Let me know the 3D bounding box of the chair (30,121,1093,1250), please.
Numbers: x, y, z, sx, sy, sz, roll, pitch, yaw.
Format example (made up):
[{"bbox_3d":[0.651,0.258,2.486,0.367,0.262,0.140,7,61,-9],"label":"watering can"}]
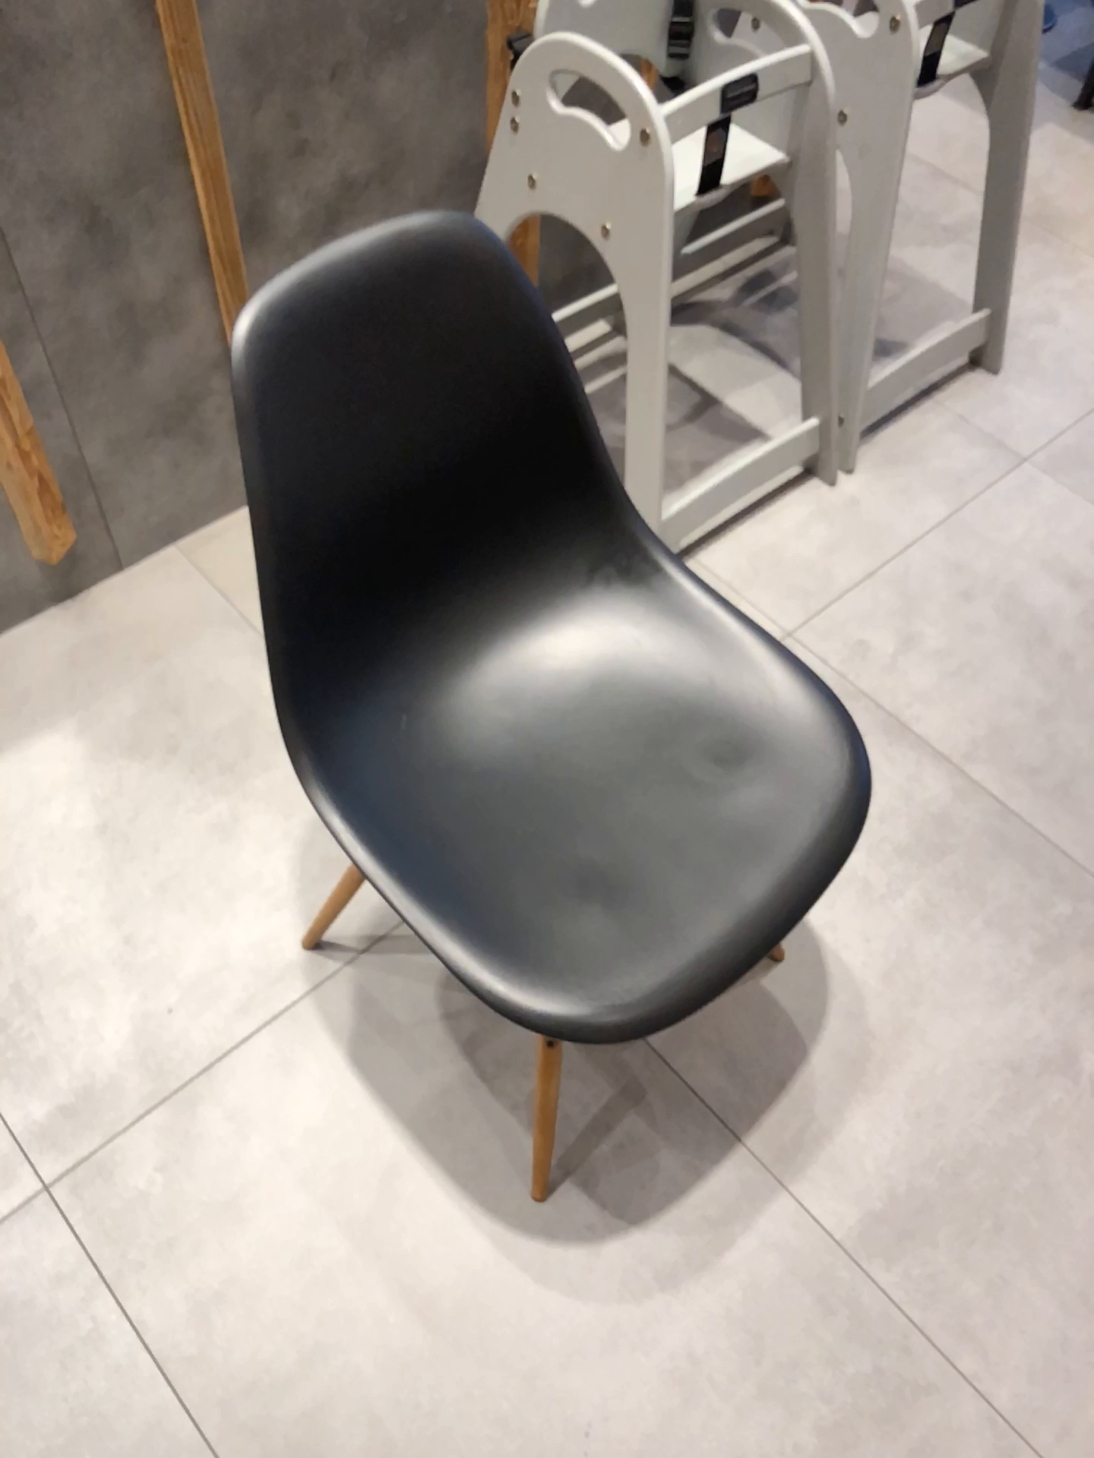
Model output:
[{"bbox_3d":[0.003,0.000,1.137,0.509,0.758,0.565,-37,65,-26],"label":"chair"}]
